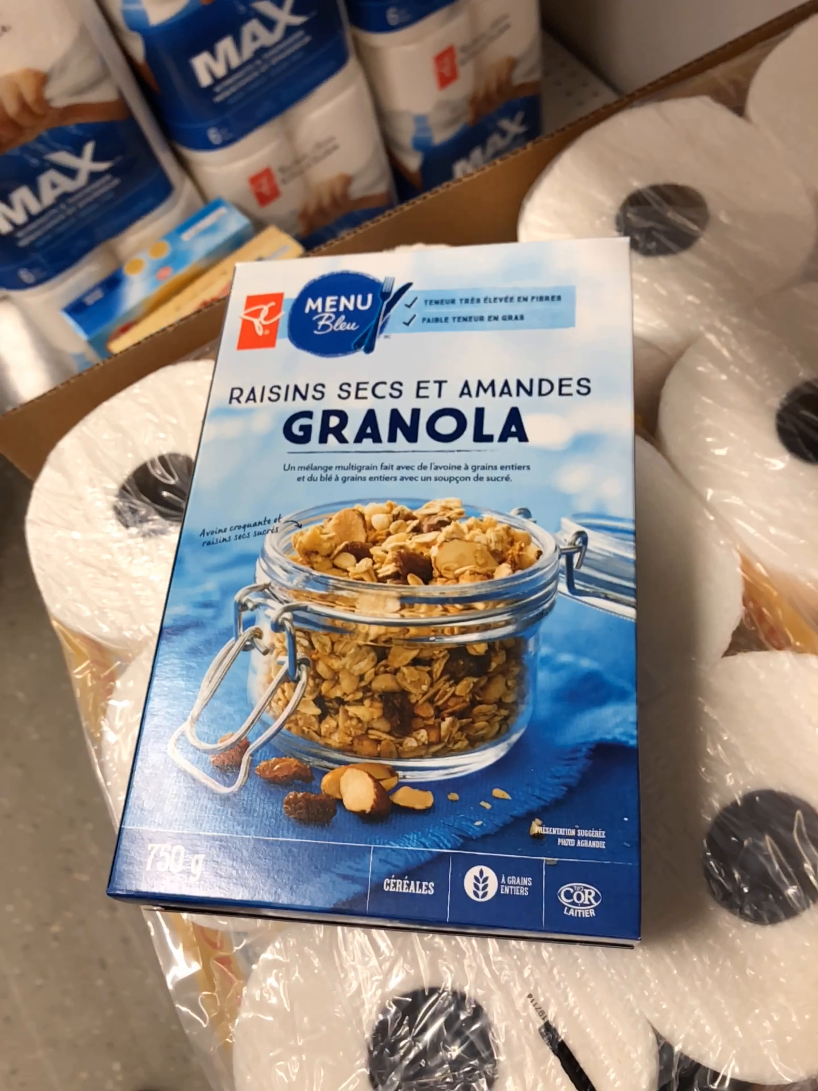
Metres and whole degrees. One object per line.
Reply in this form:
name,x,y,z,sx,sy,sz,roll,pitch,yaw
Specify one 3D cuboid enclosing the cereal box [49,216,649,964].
cereal box,-0.005,0.004,0.329,0.170,0.060,0.250,1,65,12
